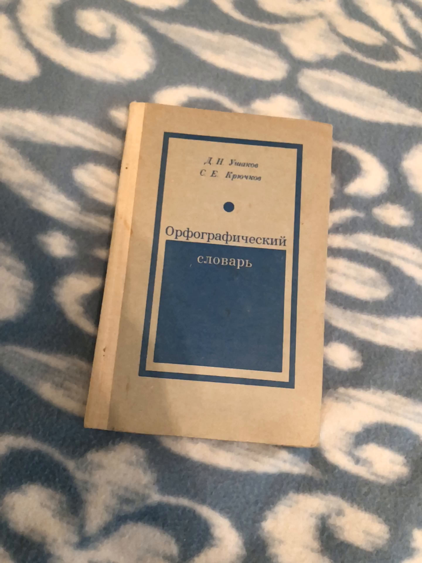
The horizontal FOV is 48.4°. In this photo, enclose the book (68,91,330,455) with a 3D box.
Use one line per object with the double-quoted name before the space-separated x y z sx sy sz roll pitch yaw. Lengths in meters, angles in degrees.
"book" -0.001 -0.011 0.291 0.136 0.022 0.210 6 77 -2
